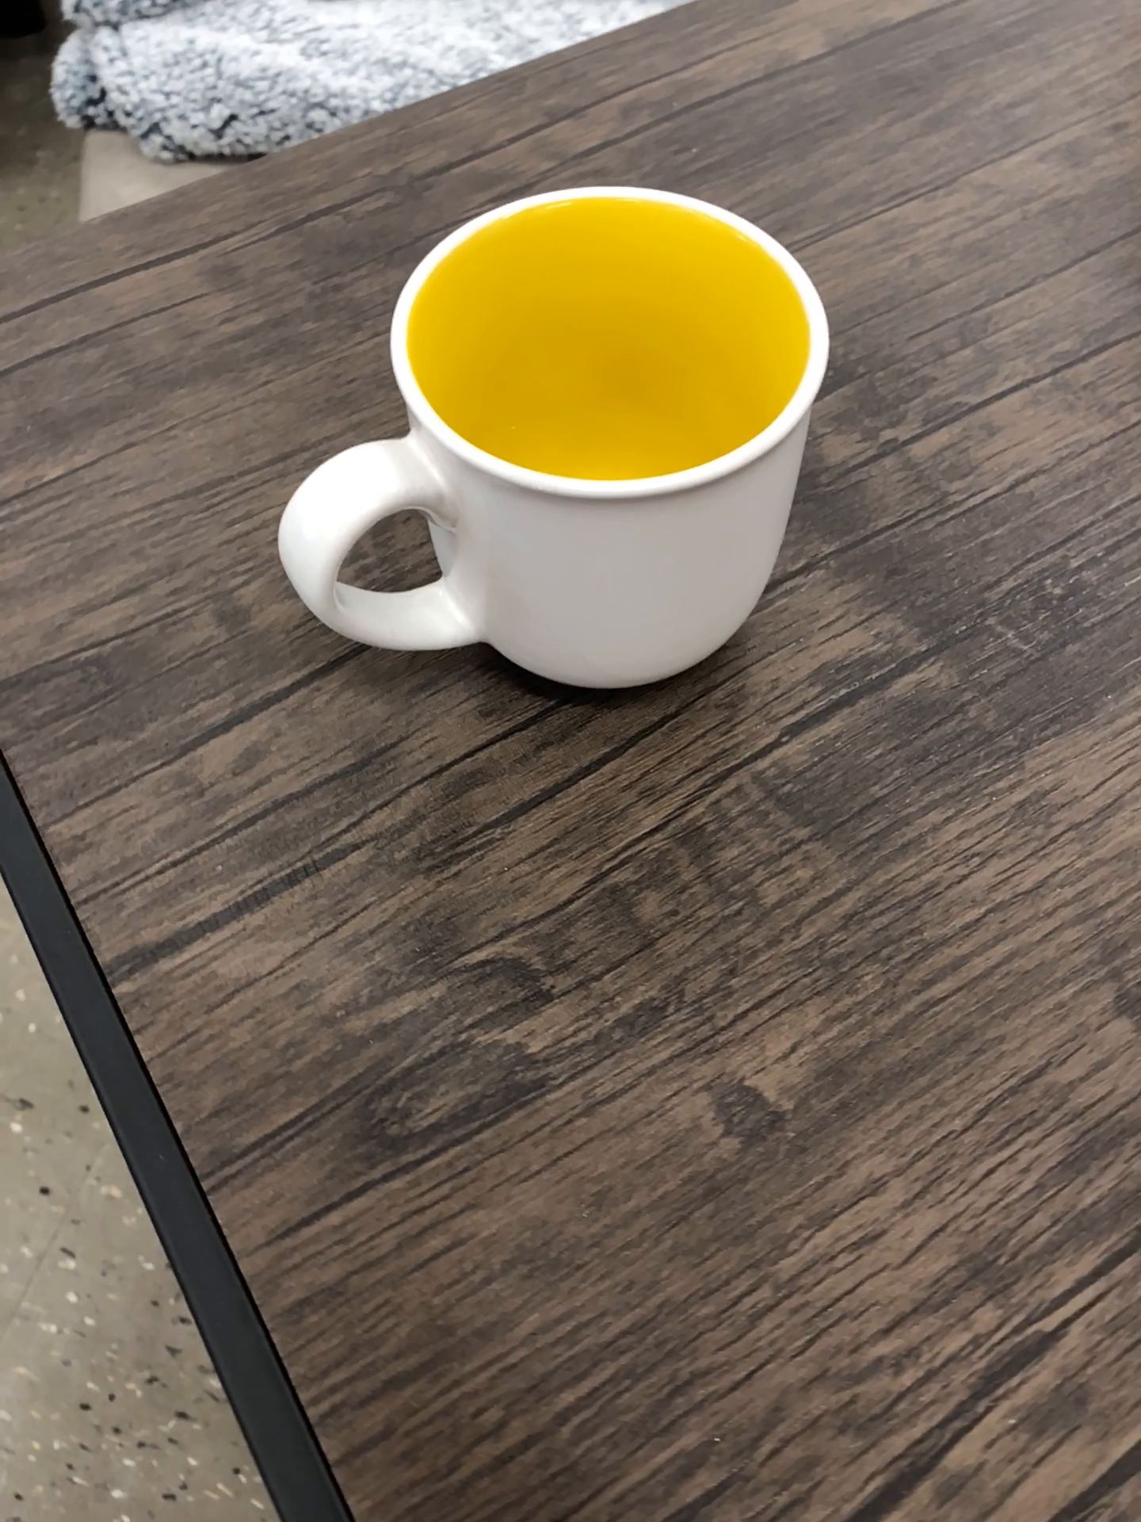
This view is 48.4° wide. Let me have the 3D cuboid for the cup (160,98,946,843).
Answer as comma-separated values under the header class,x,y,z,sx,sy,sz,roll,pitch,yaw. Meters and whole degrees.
class,x,y,z,sx,sy,sz,roll,pitch,yaw
cup,-0.004,-0.064,0.289,0.130,0.100,0.080,-25,62,-14
